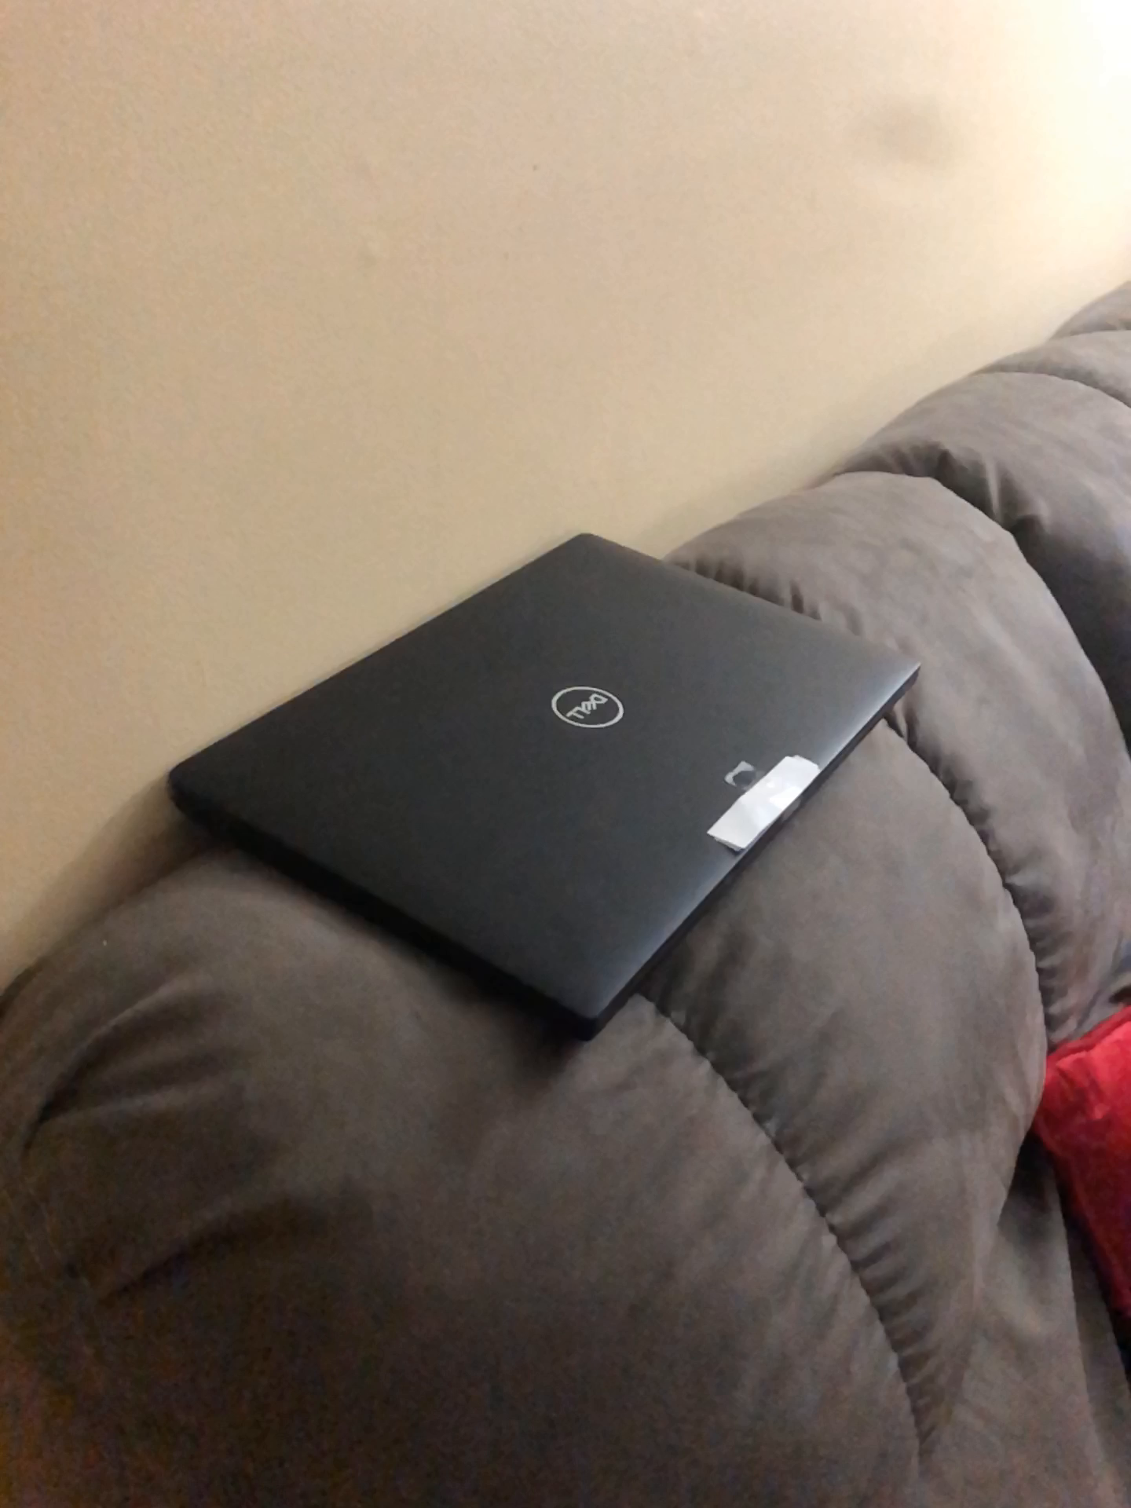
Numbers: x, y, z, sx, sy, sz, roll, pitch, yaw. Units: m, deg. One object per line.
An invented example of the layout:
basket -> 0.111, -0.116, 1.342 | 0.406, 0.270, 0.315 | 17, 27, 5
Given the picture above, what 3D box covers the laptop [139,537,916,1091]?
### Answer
laptop -> 0.006, -0.004, 0.598 | 0.214, 0.030, 0.326 | 25, 39, 23
